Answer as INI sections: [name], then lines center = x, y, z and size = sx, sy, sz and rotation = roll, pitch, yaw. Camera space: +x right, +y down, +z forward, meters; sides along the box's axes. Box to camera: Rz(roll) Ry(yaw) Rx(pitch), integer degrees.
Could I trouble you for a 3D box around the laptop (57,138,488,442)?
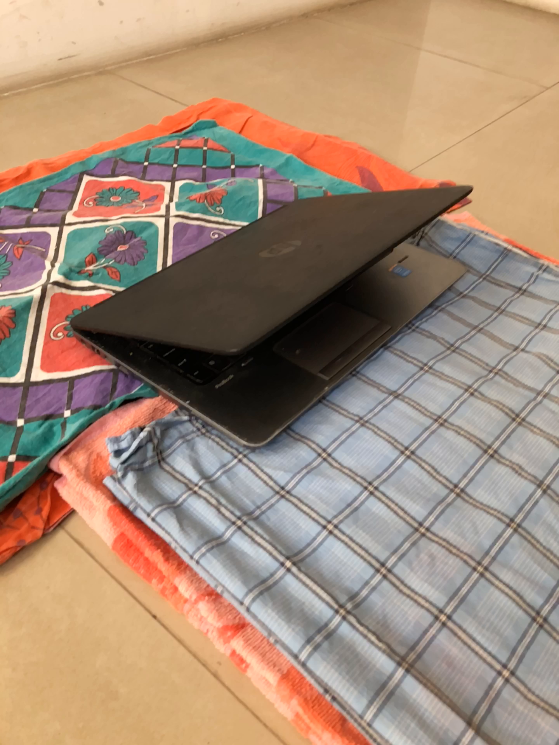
[laptop]
center = 0.006, -0.104, 0.558
size = 0.212, 0.099, 0.323
rotation = 28, 46, 29
